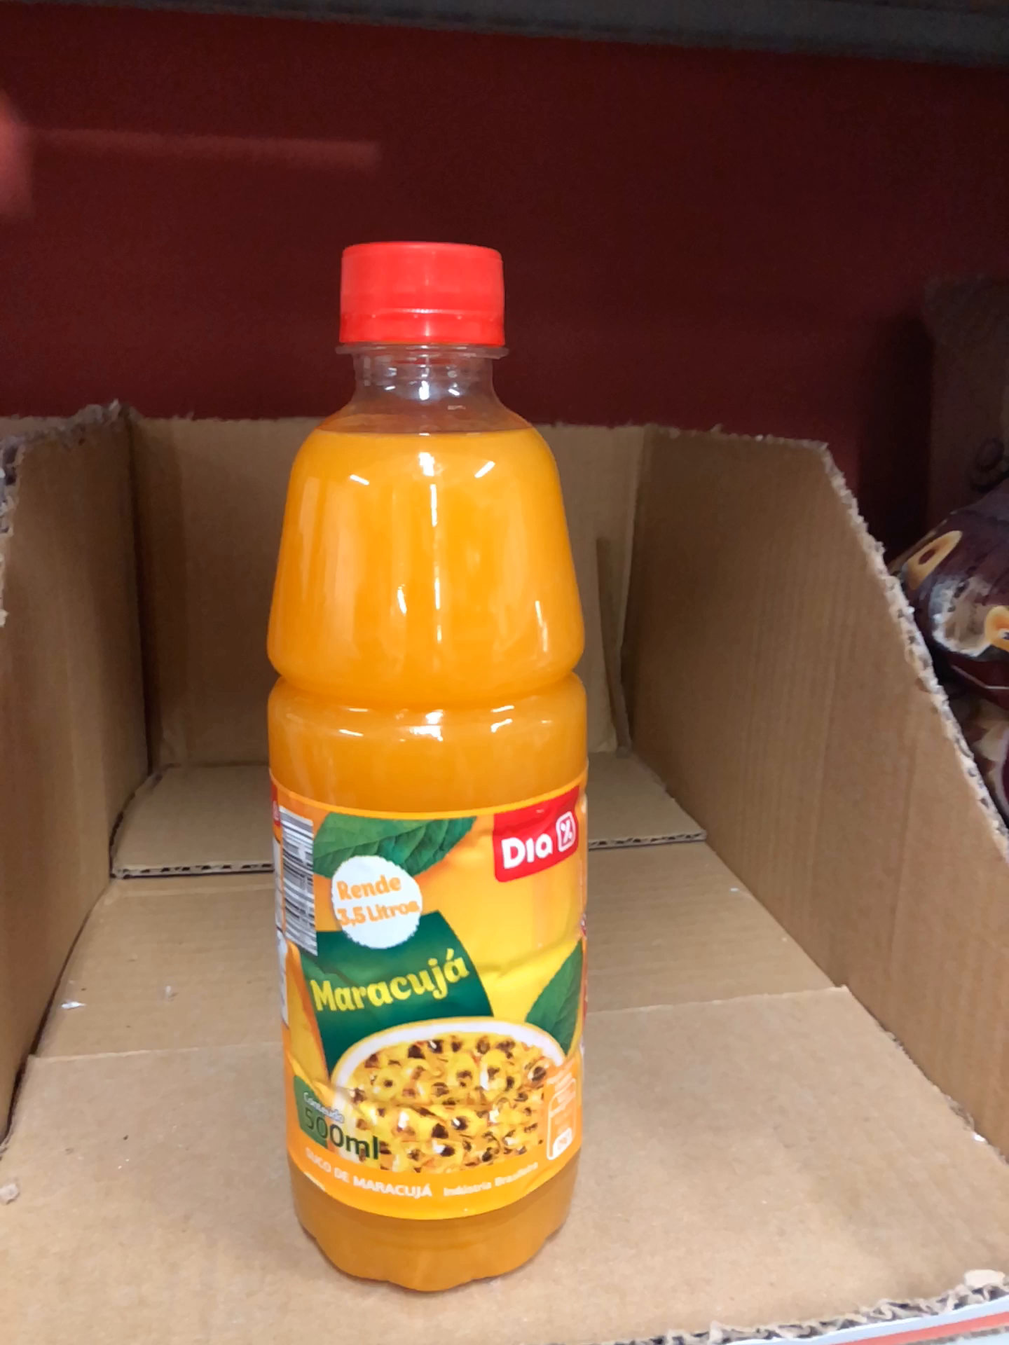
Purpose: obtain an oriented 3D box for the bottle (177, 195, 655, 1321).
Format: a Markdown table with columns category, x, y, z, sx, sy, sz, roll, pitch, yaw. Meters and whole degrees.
| category | x | y | z | sx | sy | sz | roll | pitch | yaw |
| --- | --- | --- | --- | --- | --- | --- | --- | --- | --- |
| bottle | -0.013 | 0.017 | 0.223 | 0.070 | 0.199 | 0.070 | 0 | 14 | 0 |
